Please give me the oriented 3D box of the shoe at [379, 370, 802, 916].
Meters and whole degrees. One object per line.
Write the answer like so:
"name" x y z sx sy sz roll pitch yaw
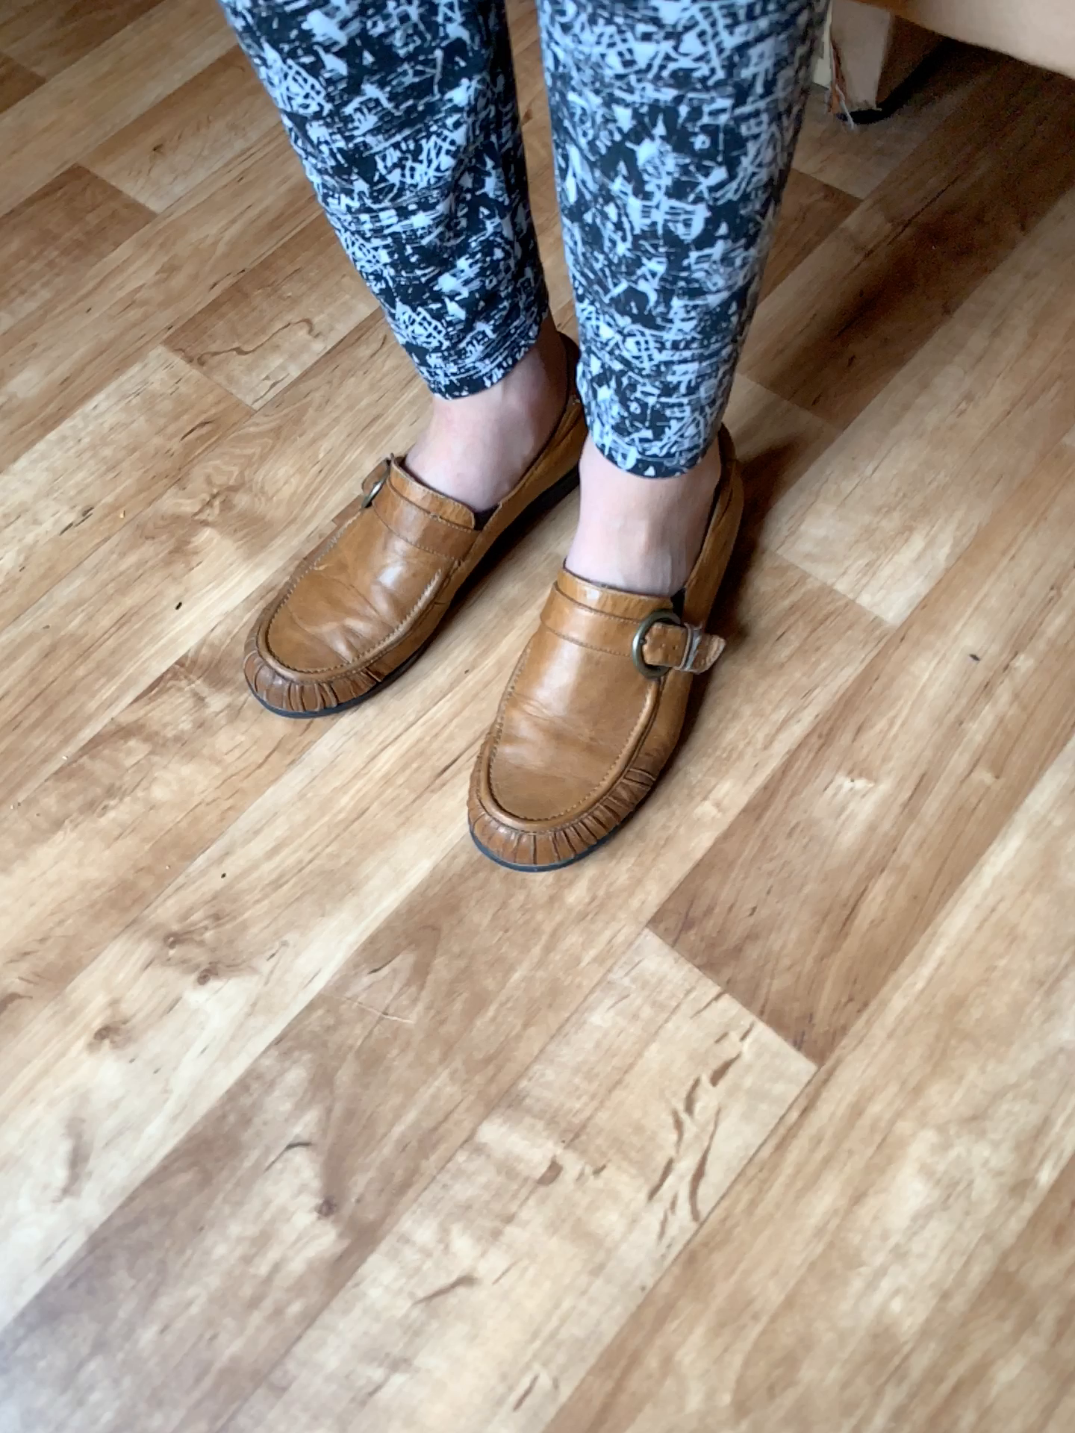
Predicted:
"shoe" 0.027 -0.033 0.428 0.080 0.070 0.190 22 68 17

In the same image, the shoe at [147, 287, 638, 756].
"shoe" -0.053 -0.085 0.468 0.190 0.070 0.080 -41 66 -14
